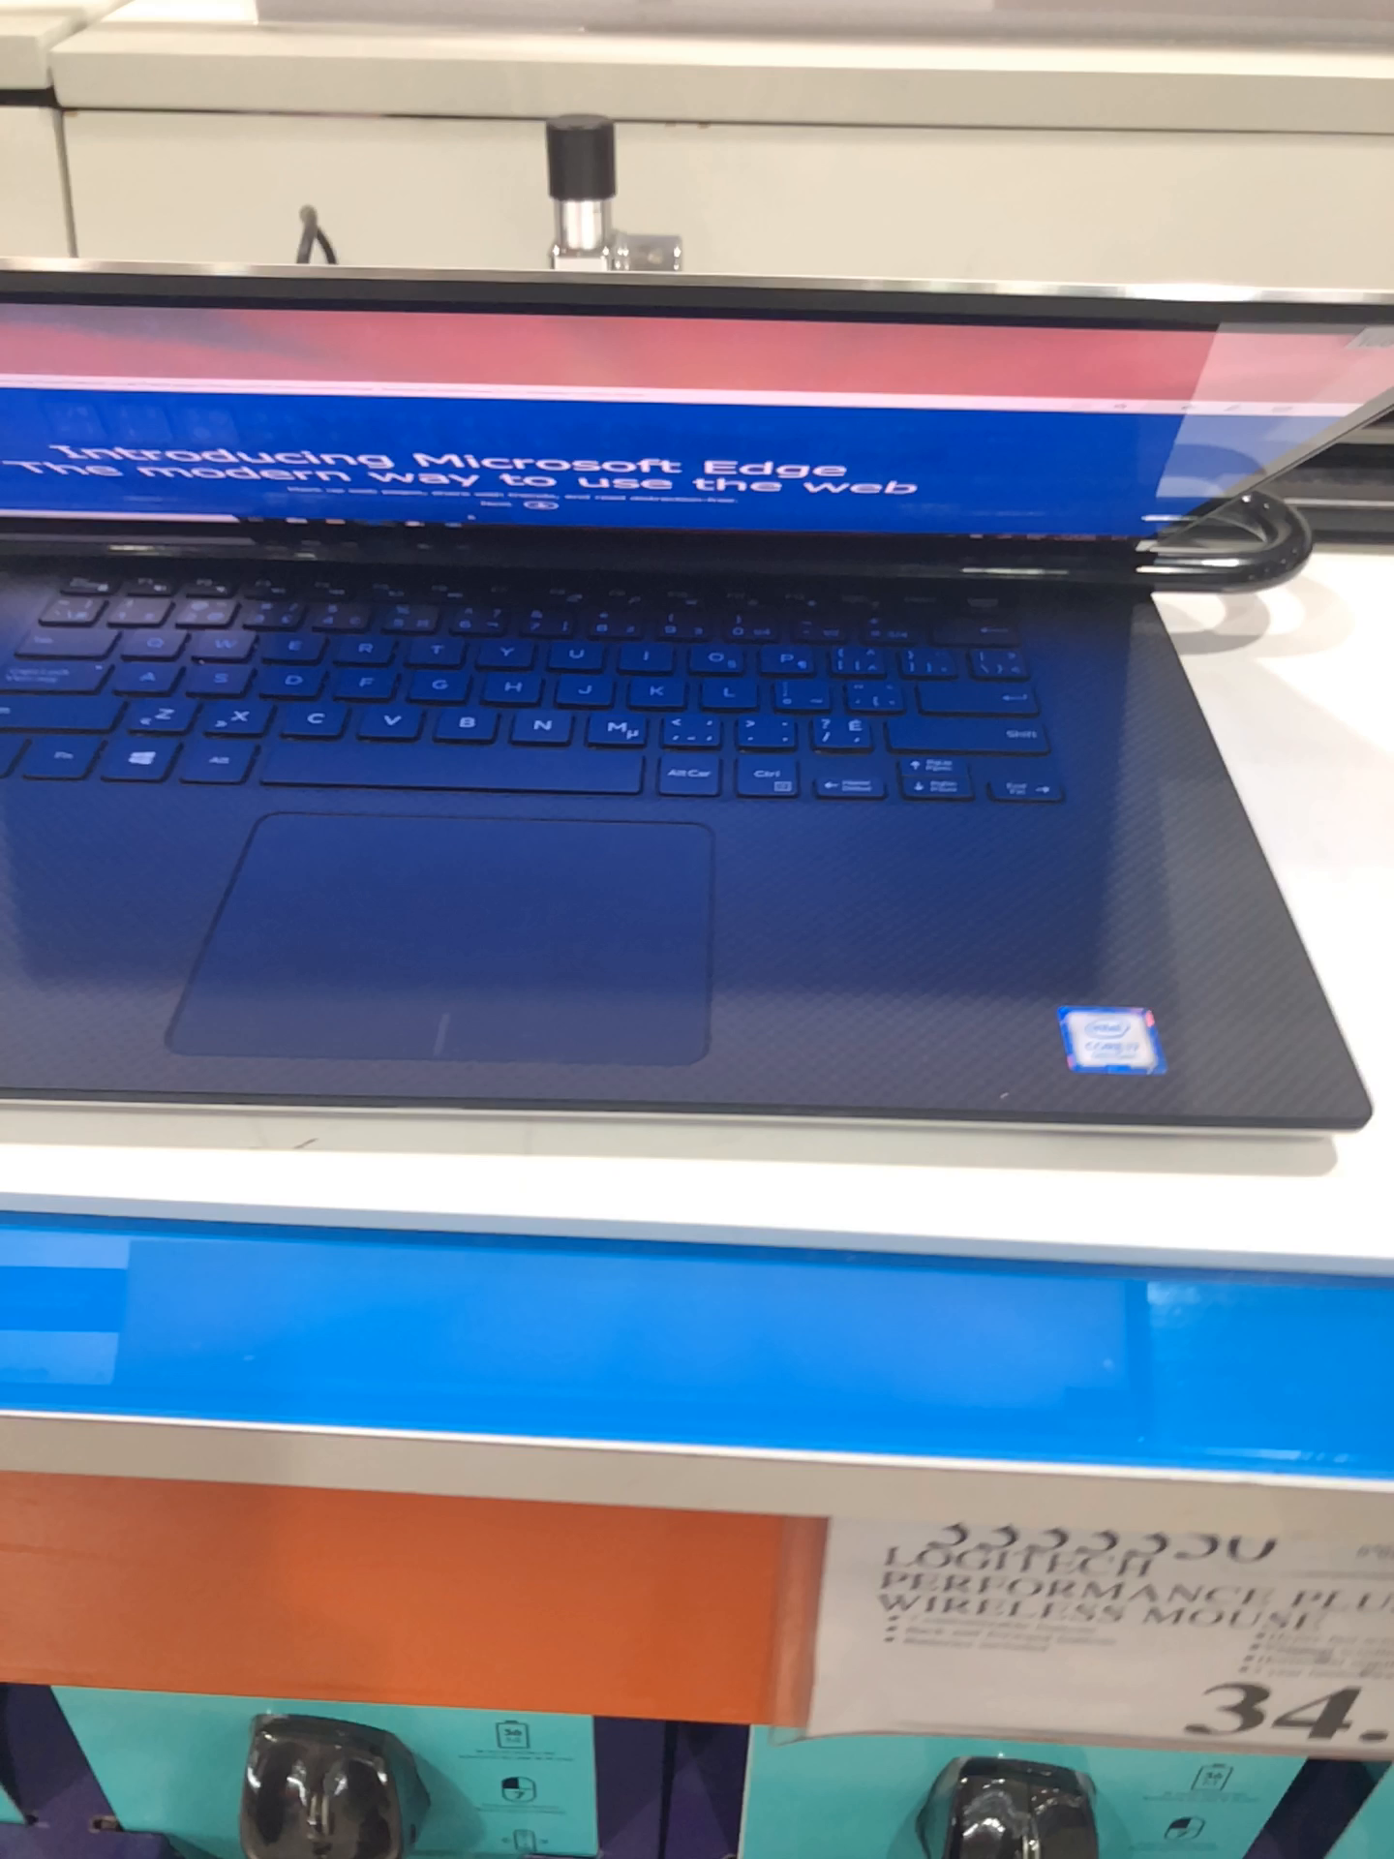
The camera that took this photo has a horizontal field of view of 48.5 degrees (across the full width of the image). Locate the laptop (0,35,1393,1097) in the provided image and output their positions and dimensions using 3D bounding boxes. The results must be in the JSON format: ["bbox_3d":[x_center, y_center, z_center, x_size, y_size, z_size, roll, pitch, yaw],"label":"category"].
[{"bbox_3d":[-0.046,-0.091,0.331,0.345,0.133,0.218,1,40,0],"label":"laptop"}]
